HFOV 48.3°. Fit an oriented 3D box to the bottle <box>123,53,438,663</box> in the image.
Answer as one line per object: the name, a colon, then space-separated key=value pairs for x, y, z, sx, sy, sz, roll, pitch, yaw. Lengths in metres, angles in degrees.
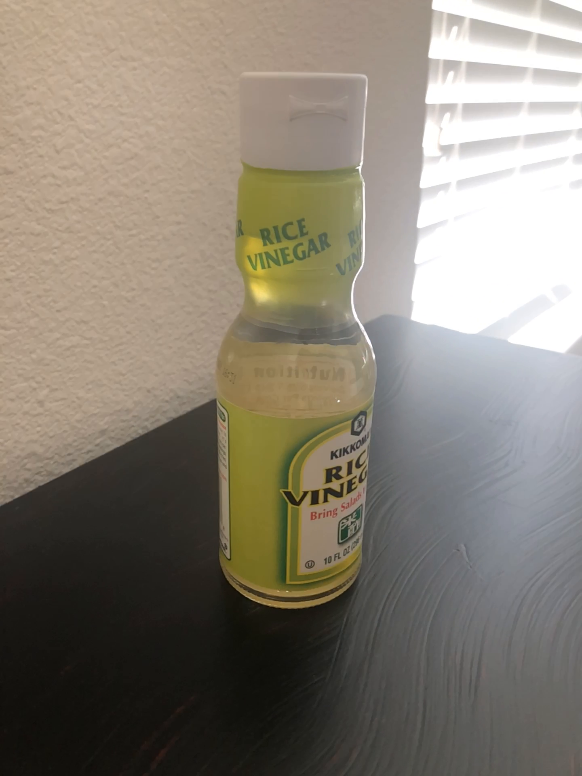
bottle: x=-0.003 y=-0.011 z=0.243 sx=0.070 sy=0.199 sz=0.070 roll=0 pitch=24 yaw=0
